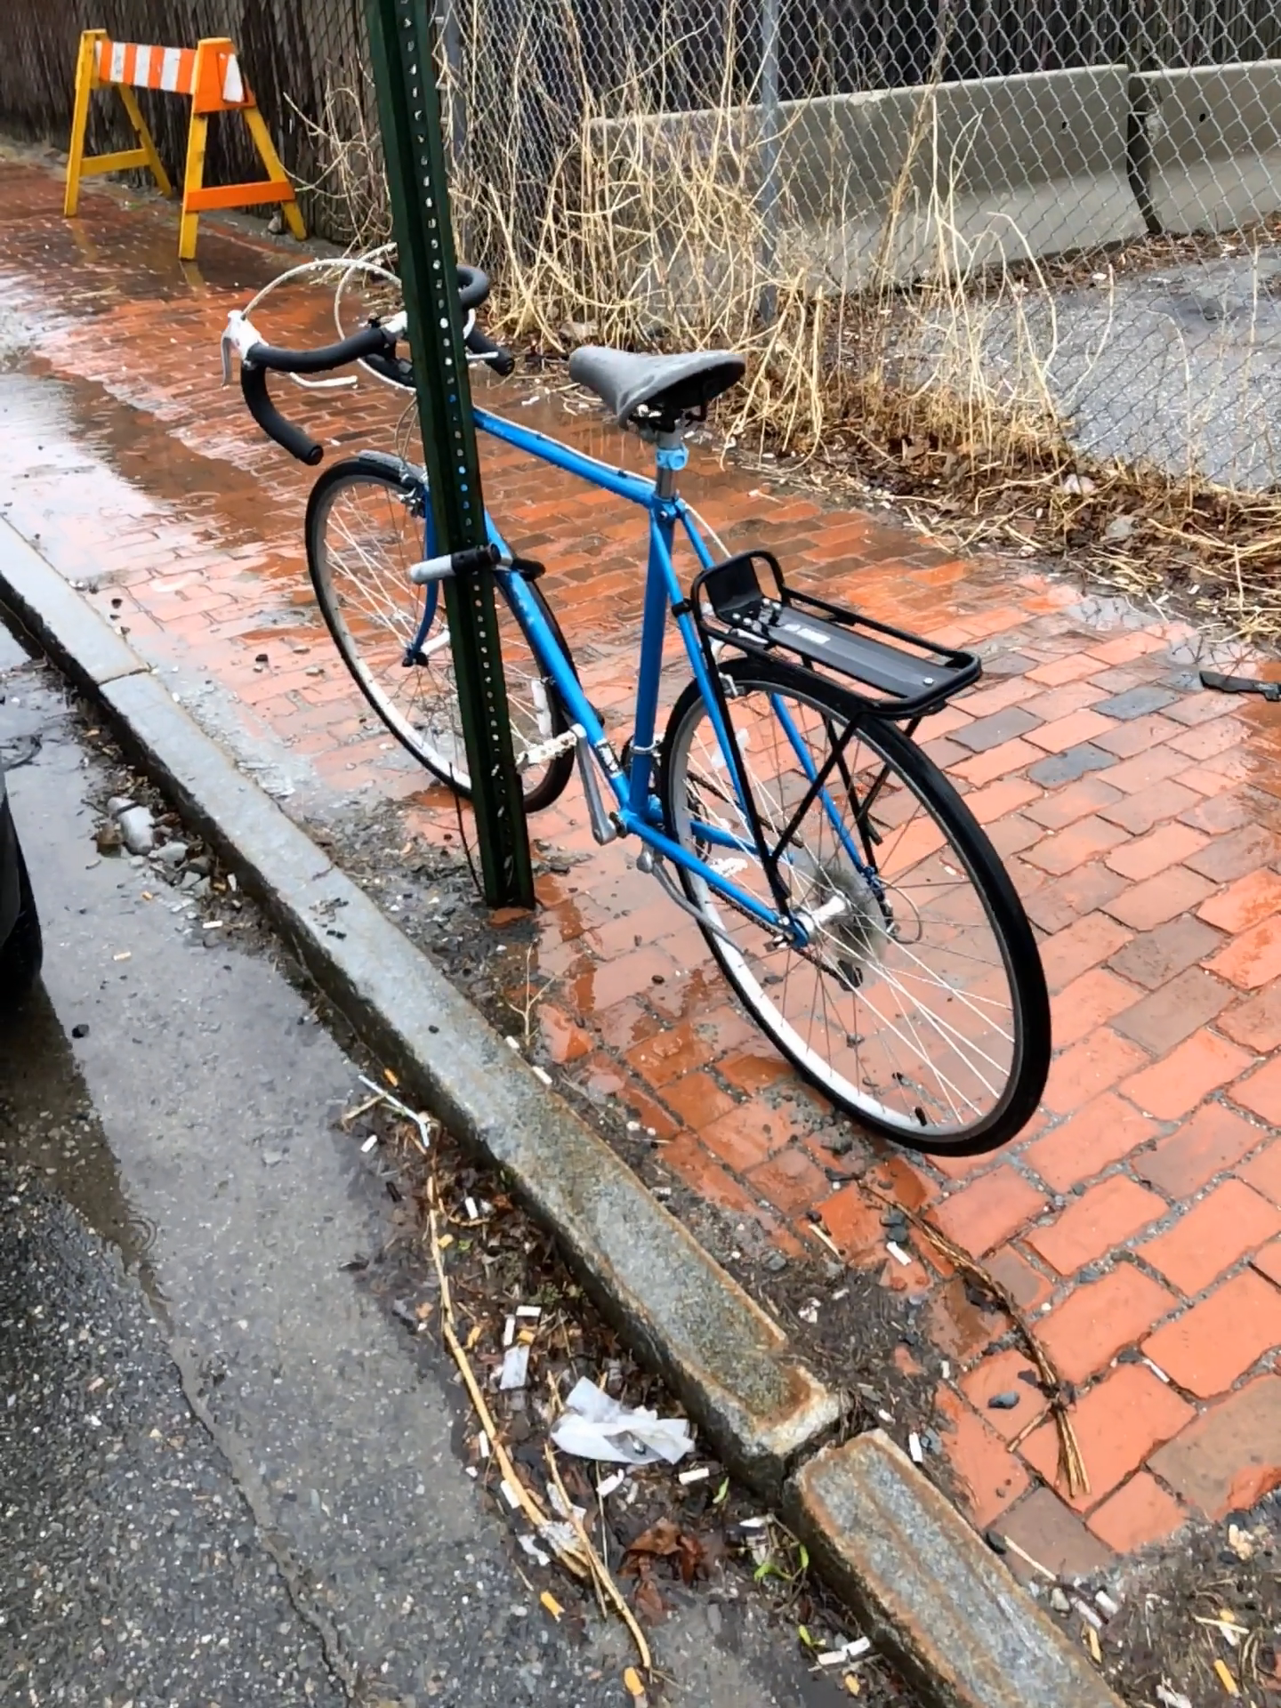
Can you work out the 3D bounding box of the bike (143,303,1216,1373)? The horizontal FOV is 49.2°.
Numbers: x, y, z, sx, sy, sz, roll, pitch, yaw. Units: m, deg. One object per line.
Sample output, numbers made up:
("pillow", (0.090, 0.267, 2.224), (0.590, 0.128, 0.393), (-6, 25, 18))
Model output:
("bike", (-0.125, -0.220, 2.251), (0.473, 0.919, 1.872), (-23, 39, -31))
